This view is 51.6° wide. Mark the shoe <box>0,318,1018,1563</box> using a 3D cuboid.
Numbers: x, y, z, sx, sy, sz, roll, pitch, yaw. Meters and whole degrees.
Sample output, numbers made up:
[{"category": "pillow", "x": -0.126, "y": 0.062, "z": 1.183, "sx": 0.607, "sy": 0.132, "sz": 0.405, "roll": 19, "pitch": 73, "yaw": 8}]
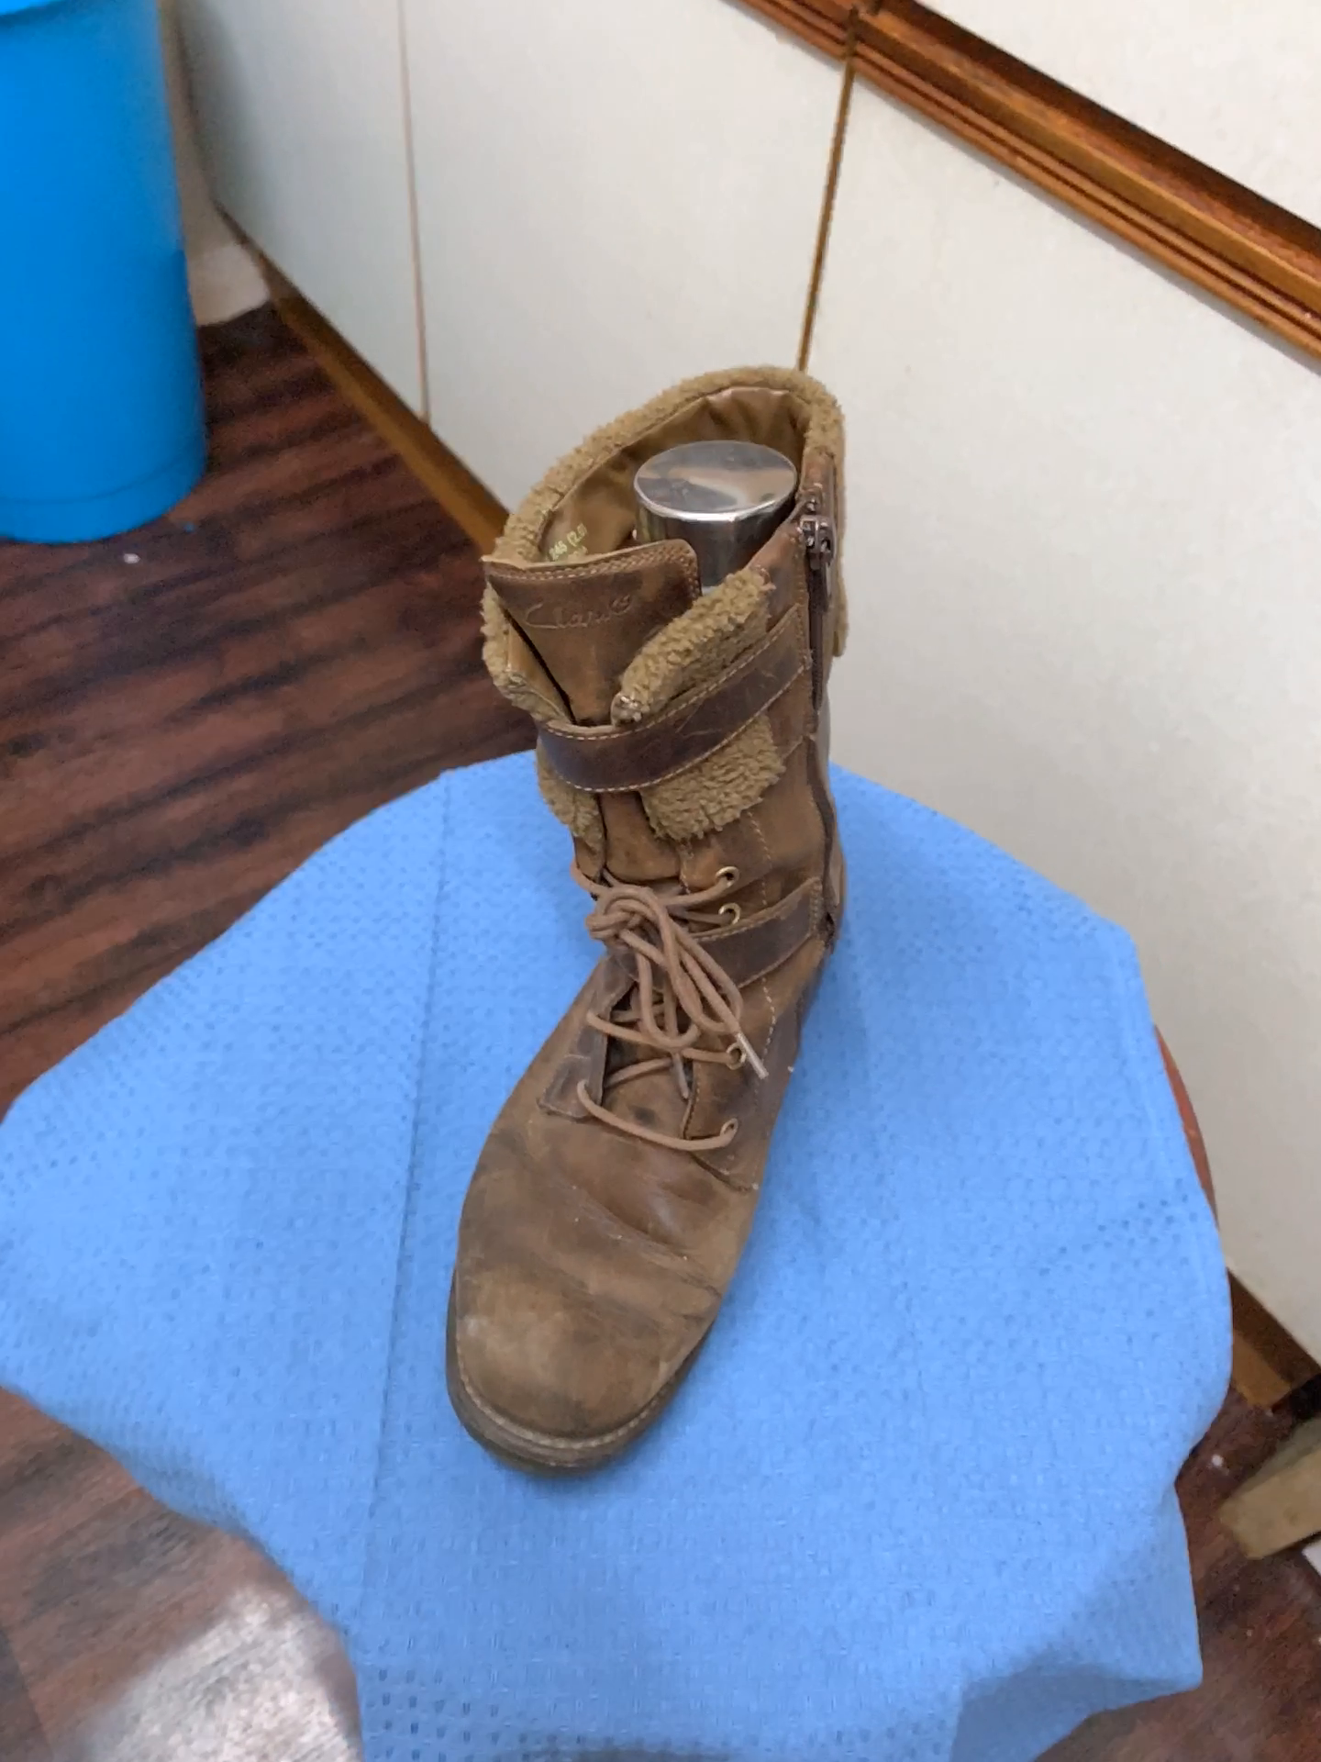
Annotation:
[{"category": "shoe", "x": -0.010, "y": 0.015, "z": 0.396, "sx": 0.120, "sy": 0.228, "sz": 0.252, "roll": 20, "pitch": 53, "yaw": 19}]
